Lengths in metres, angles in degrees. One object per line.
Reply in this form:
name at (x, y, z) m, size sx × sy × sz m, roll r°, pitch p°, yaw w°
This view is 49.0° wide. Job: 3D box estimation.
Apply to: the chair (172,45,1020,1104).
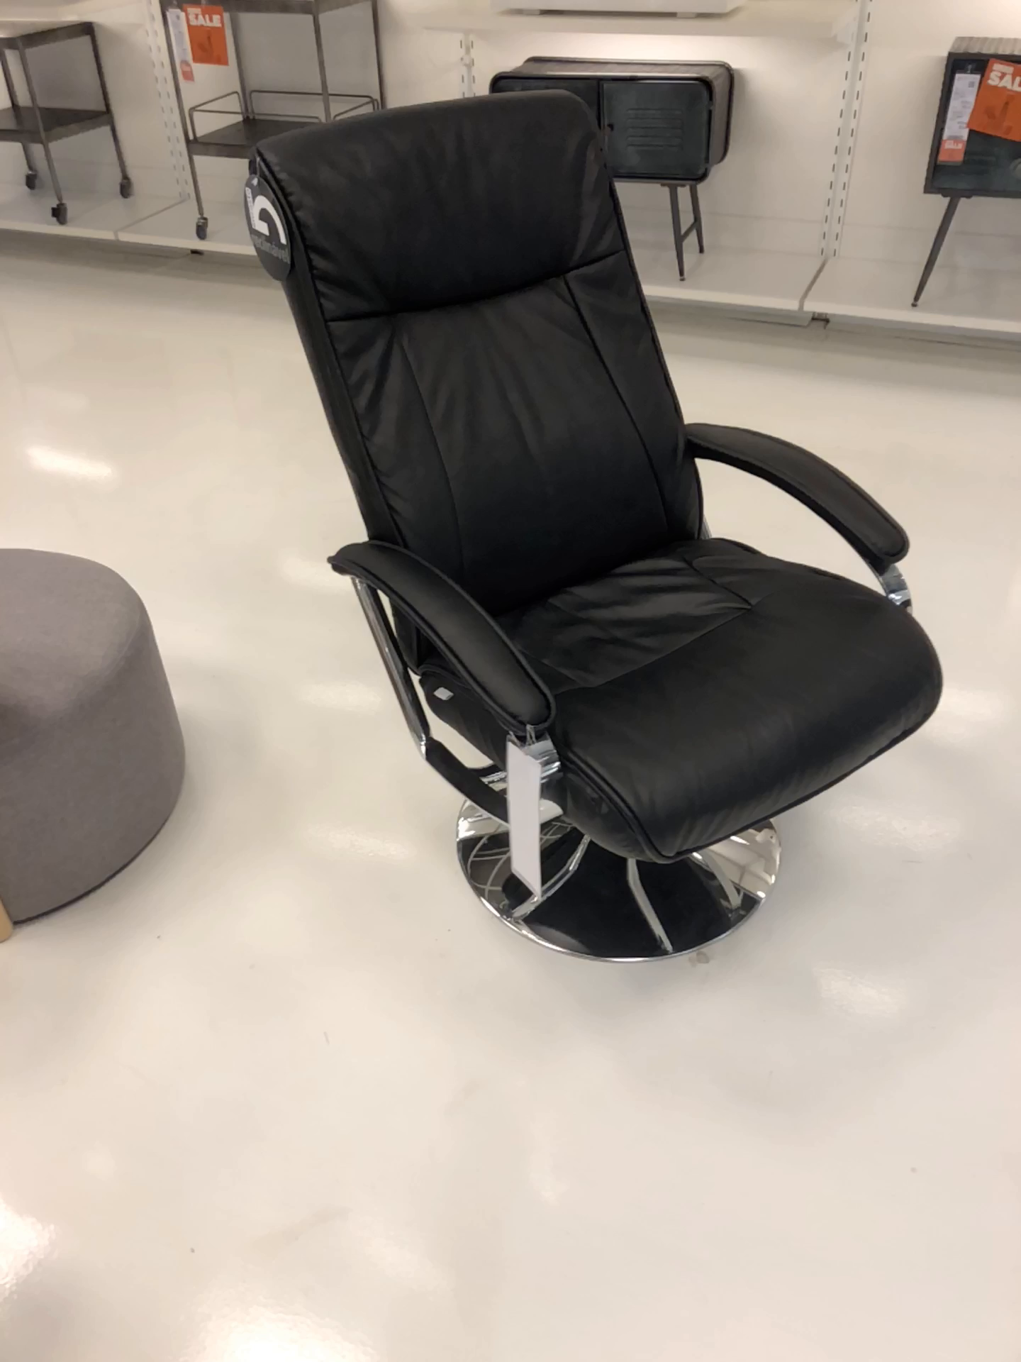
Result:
chair at (0.137, -0.189, 1.609) m, size 0.752 × 1.131 × 0.723 m, roll -27°, pitch 43°, yaw -29°
